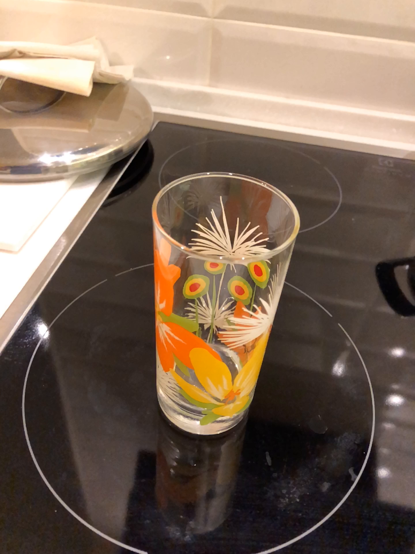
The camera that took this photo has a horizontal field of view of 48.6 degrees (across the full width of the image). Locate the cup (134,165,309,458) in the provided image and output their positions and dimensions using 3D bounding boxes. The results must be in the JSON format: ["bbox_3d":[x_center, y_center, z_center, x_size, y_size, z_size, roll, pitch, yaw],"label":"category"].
[{"bbox_3d":[0.002,0.024,0.234,0.062,0.138,0.067,3,42,-3],"label":"cup"}]
